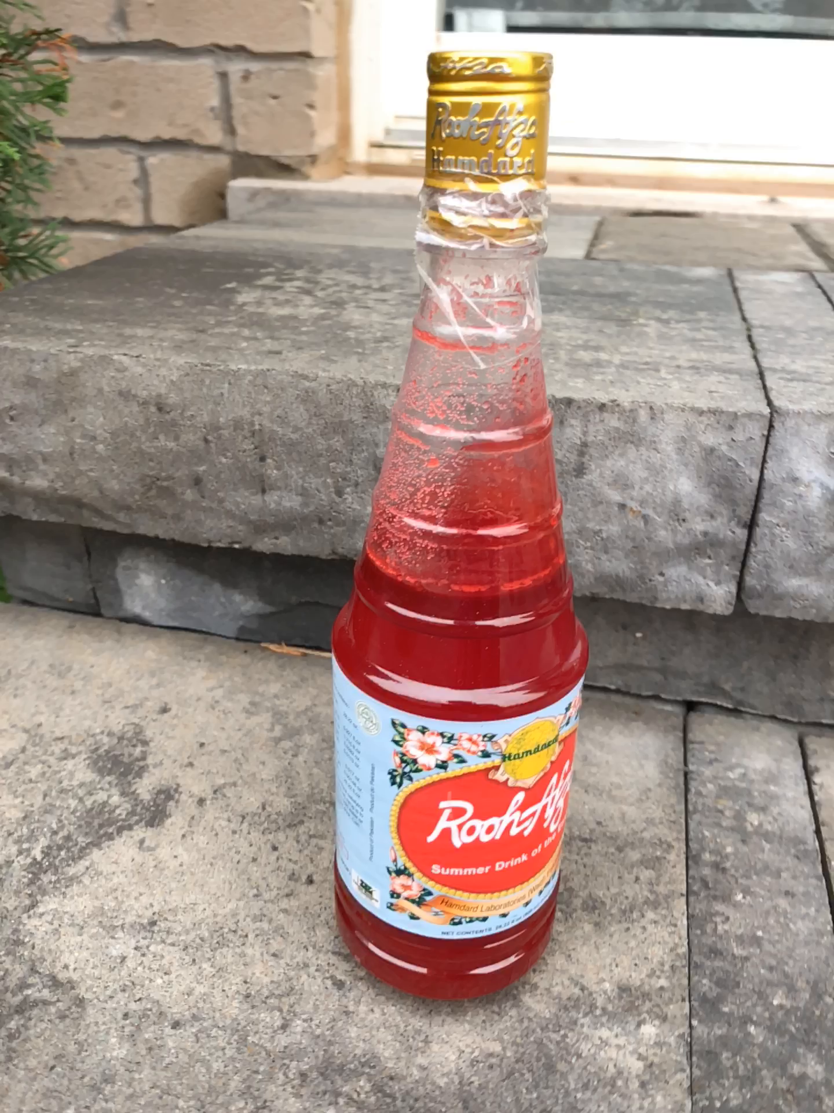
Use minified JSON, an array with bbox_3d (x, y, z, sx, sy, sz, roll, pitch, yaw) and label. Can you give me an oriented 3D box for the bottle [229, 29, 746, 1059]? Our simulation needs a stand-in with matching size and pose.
[{"bbox_3d":[0.009,0.006,0.277,0.090,0.279,0.080,-12,30,-25],"label":"bottle"}]
